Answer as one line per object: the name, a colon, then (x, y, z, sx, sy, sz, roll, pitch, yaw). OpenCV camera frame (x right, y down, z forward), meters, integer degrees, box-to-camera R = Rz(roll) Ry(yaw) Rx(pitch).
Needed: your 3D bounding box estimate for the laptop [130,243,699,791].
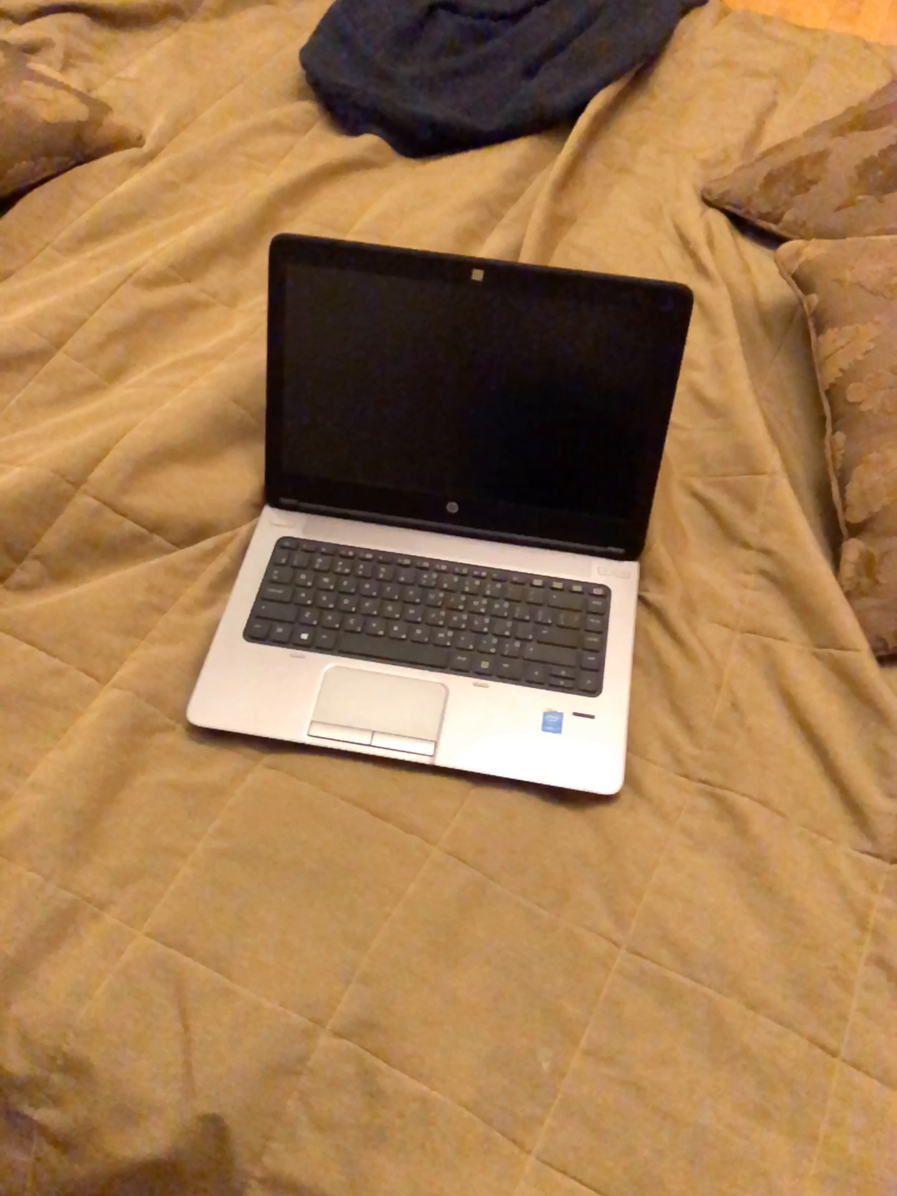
laptop: (-0.003, -0.071, 0.757, 0.332, 0.189, 0.340, 8, 56, 5)
